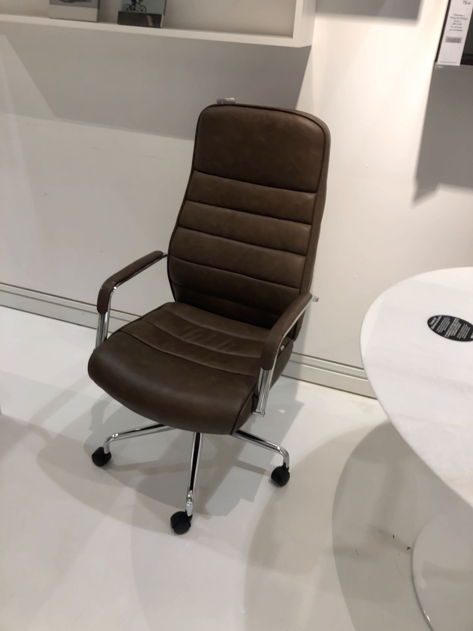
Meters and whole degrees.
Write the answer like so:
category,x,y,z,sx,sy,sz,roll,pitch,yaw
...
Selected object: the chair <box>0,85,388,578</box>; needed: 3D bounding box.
category,x,y,z,sx,sy,sz,roll,pitch,yaw
chair,-0.080,-0.021,1.630,0.701,1.171,0.785,17,32,22
